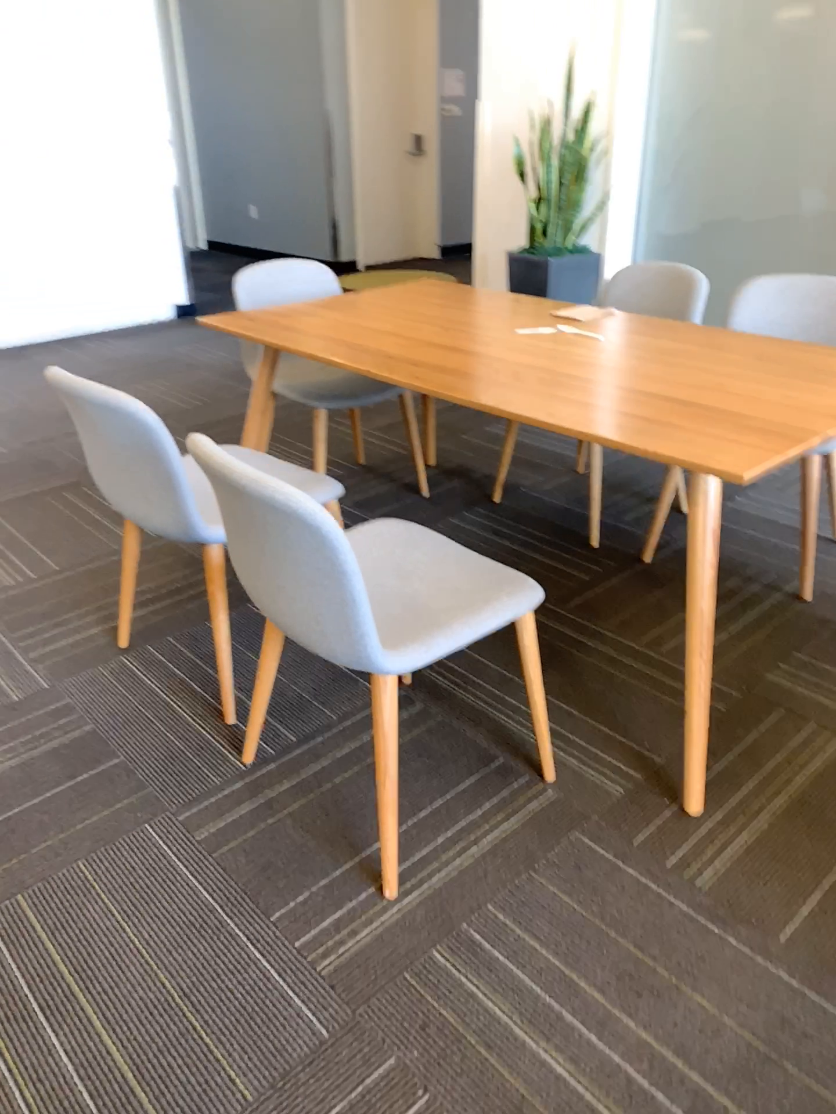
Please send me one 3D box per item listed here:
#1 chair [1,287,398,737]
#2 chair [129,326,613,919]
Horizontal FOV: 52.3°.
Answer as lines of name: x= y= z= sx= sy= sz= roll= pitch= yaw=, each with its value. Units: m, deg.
chair: x=-0.476 y=-0.152 z=2.048 sx=0.572 sy=0.805 sz=0.582 roll=21 pitch=36 yaw=36
chair: x=-0.064 y=0.067 z=1.619 sx=0.581 sy=0.805 sz=0.572 roll=-27 pitch=37 yaw=-37
